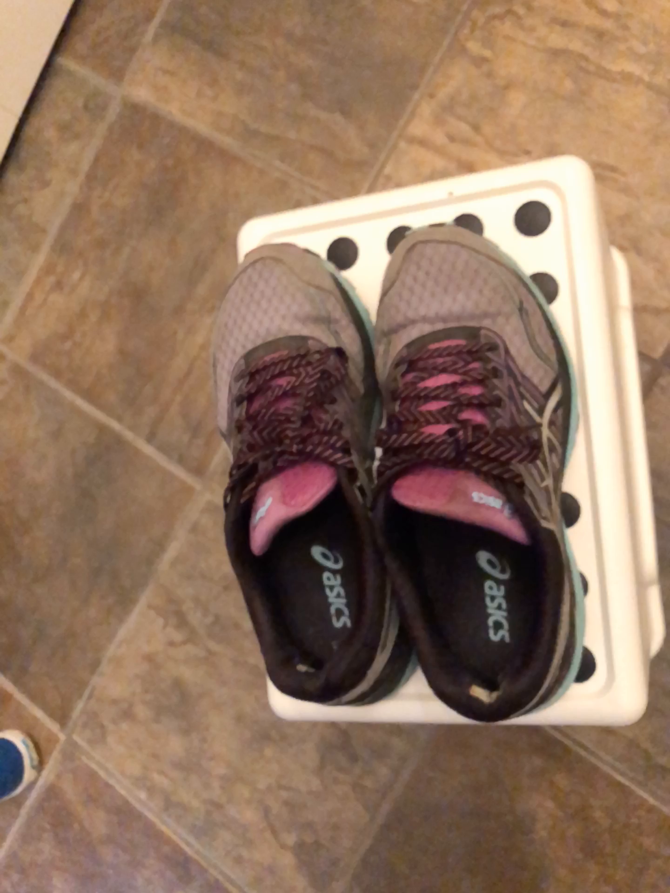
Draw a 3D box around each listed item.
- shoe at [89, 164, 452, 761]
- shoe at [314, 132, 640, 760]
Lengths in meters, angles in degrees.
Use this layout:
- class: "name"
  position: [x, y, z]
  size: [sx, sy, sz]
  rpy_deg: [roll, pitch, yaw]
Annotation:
- class: "shoe"
  position: [-0.029, 0.011, 0.403]
  size: [0.110, 0.120, 0.260]
  rpy_deg: [-14, 83, 18]
- class: "shoe"
  position: [0.075, 0.005, 0.379]
  size: [0.110, 0.120, 0.260]
  rpy_deg: [-8, 85, 18]
